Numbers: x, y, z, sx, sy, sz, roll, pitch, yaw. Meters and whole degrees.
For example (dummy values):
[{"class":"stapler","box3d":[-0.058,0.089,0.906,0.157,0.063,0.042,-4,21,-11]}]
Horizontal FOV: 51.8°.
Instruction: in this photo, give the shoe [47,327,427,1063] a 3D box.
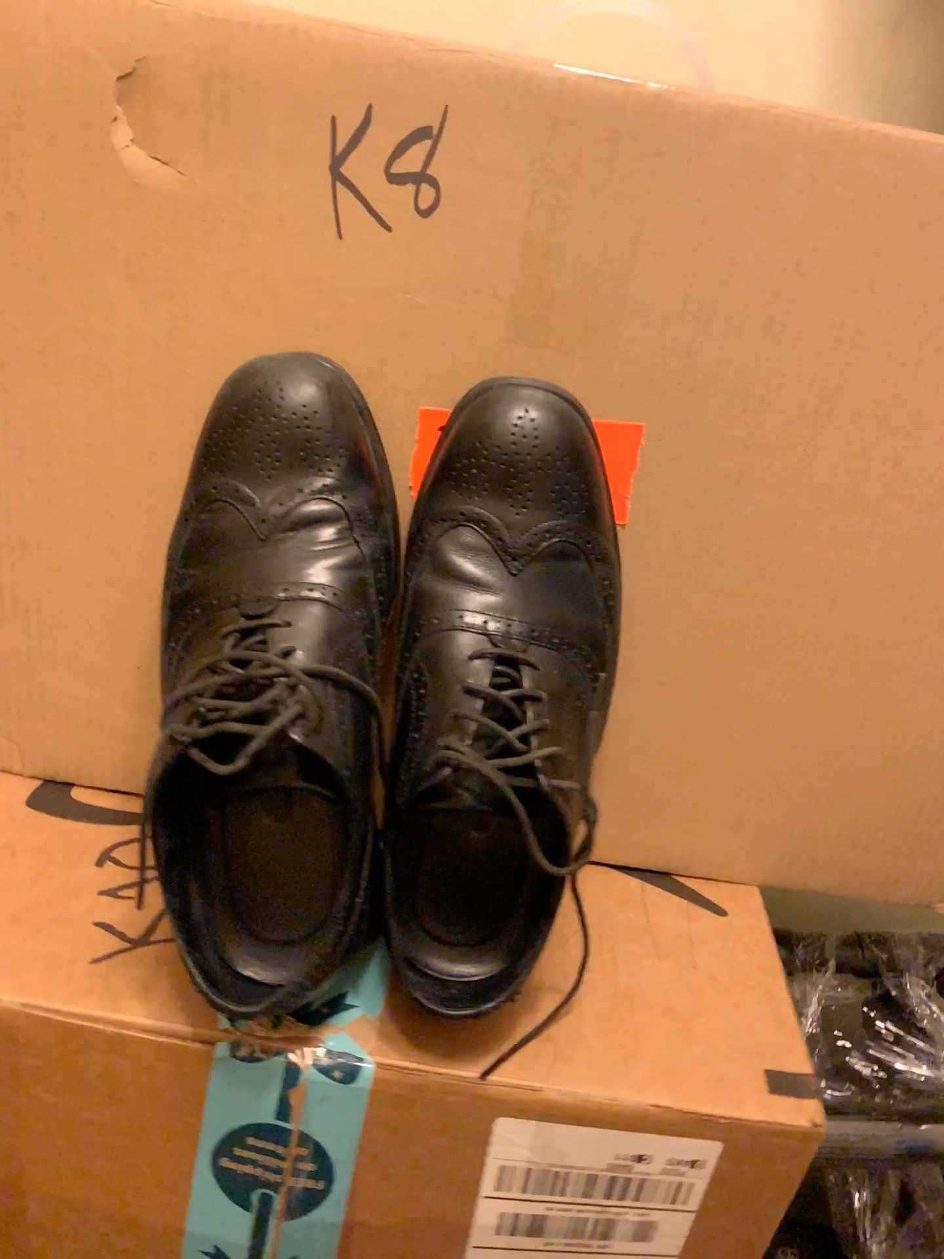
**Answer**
[{"class":"shoe","box3d":[-0.085,0.023,0.412,0.120,0.279,0.100,-2,11,-3]}]

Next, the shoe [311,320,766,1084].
[{"class":"shoe","box3d":[0.017,0.028,0.408,0.120,0.279,0.100,9,12,-4]}]
